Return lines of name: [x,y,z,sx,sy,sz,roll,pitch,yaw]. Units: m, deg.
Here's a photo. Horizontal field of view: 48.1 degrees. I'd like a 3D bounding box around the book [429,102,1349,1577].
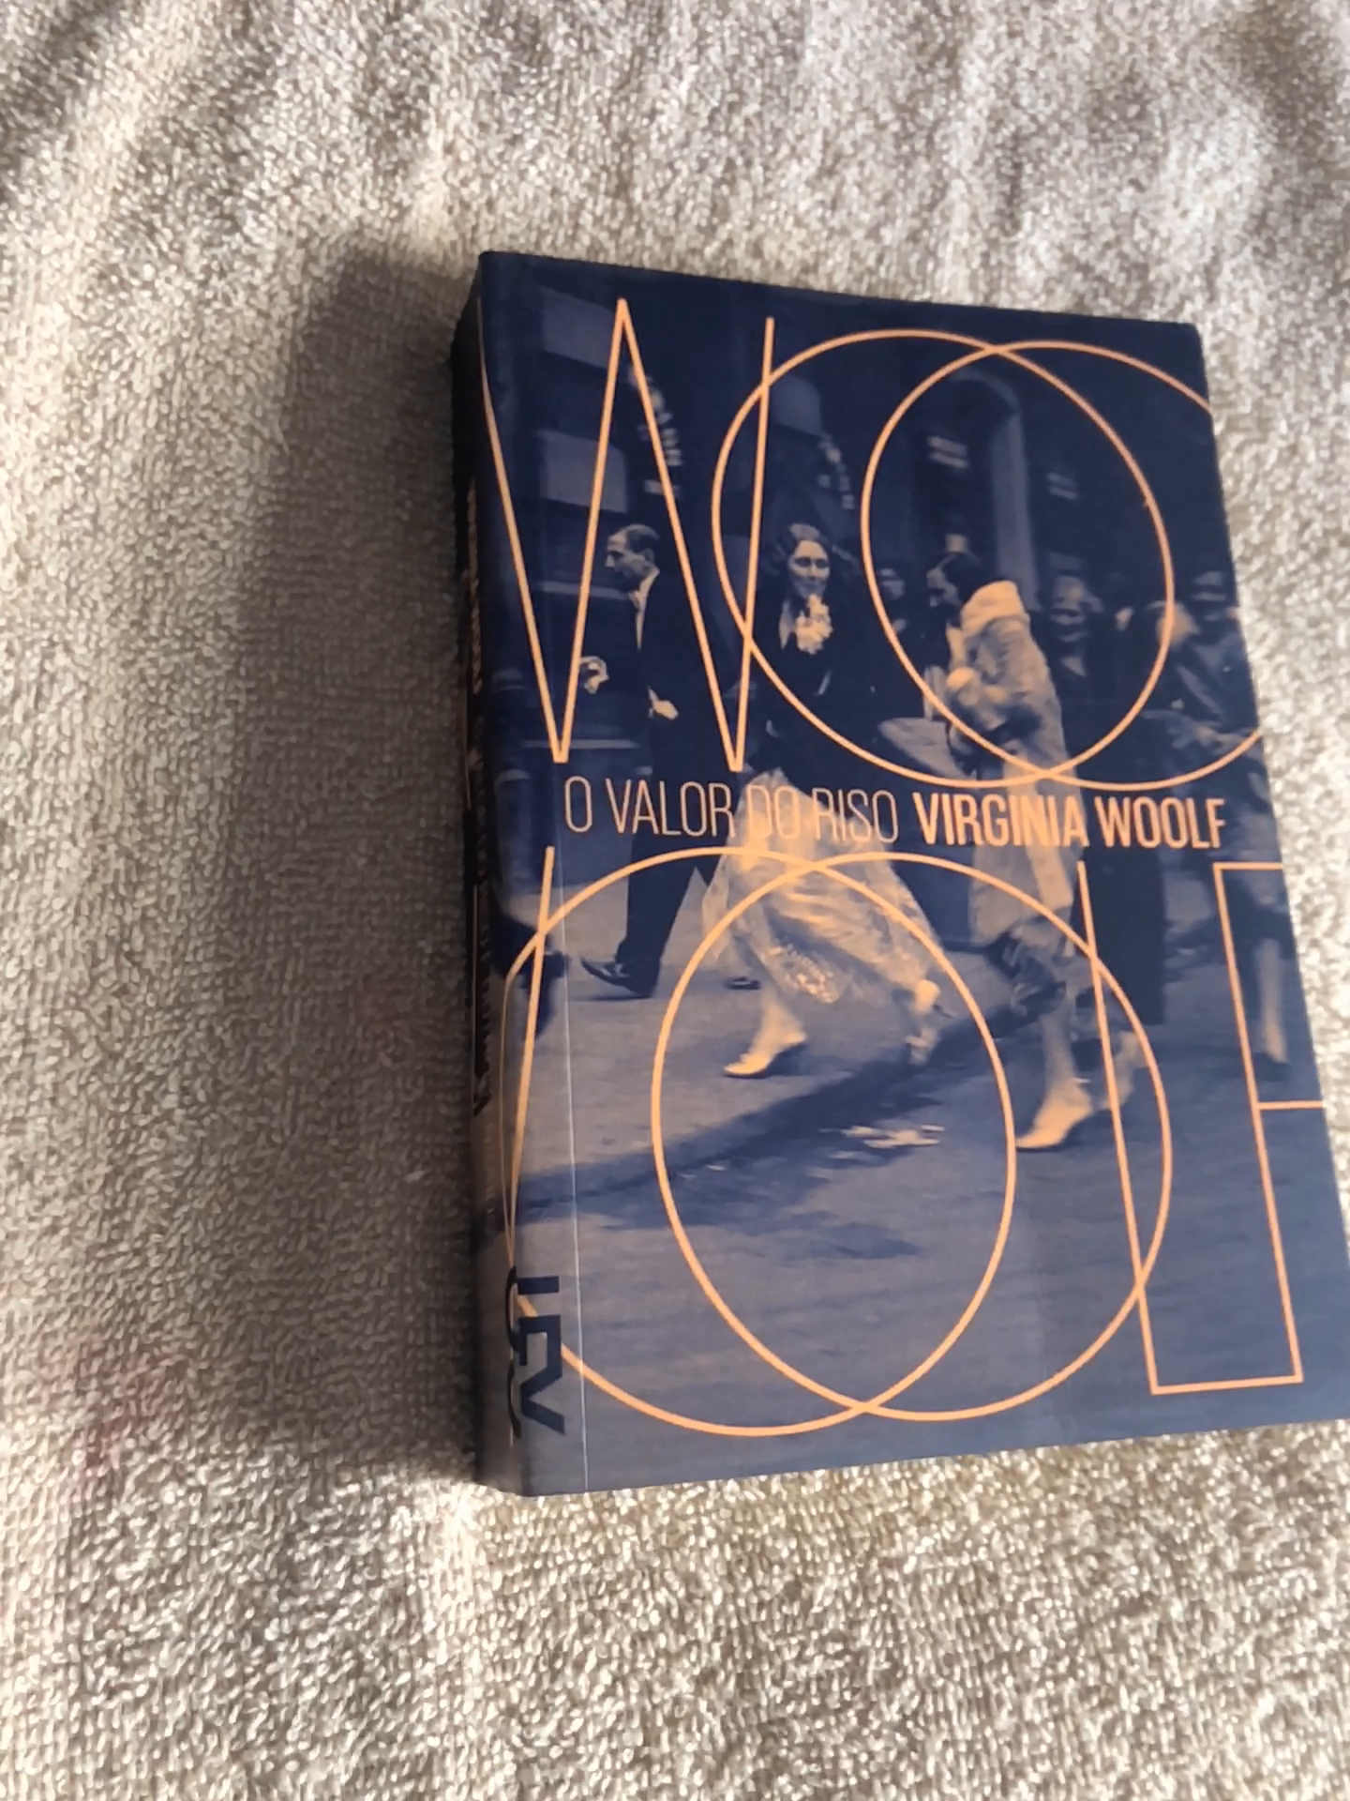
book: [0.037,-0.010,0.234,0.140,0.050,0.190,2,77,-19]
